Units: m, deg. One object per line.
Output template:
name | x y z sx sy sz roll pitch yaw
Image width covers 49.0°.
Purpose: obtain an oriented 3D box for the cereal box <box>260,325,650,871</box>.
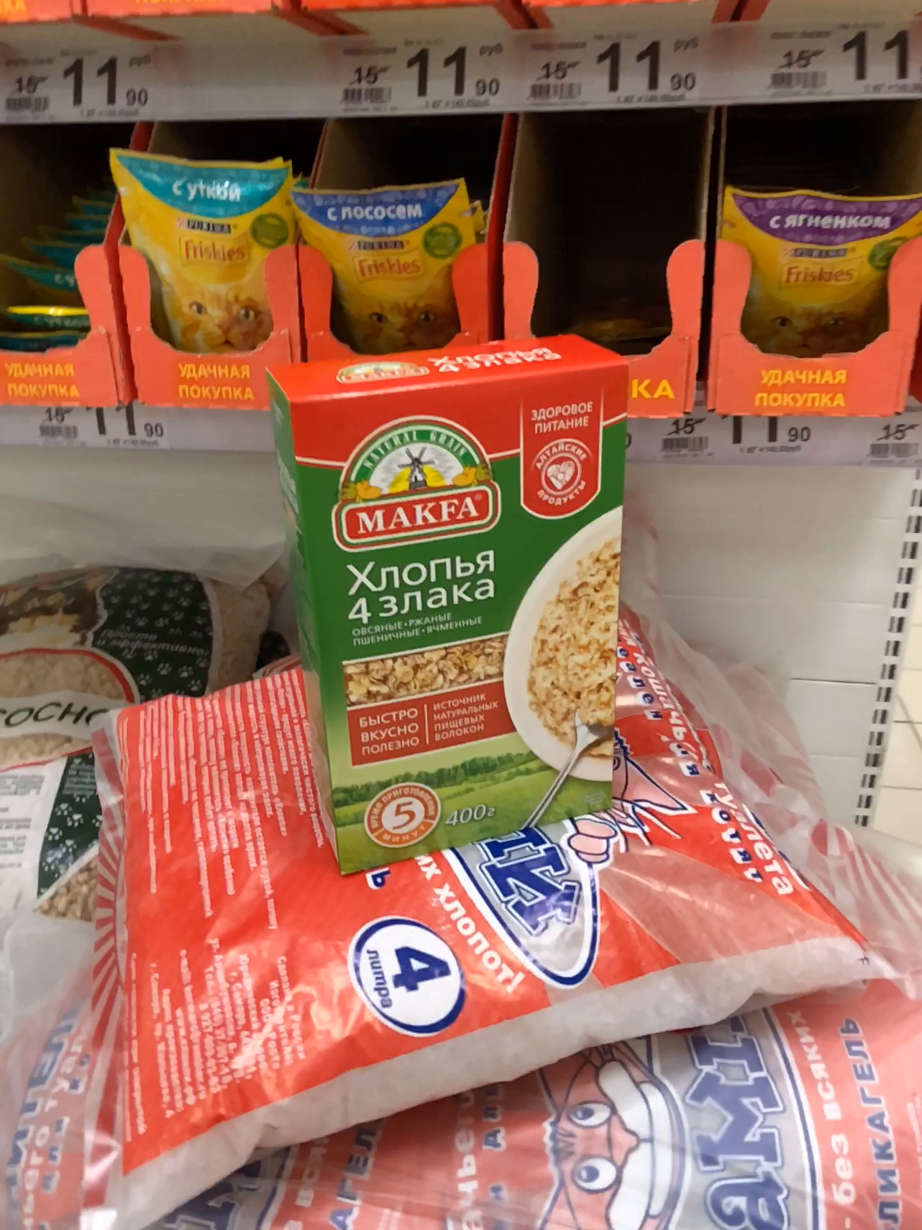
cereal box | 0.001 -0.006 0.432 0.140 0.209 0.050 -11 27 -16
